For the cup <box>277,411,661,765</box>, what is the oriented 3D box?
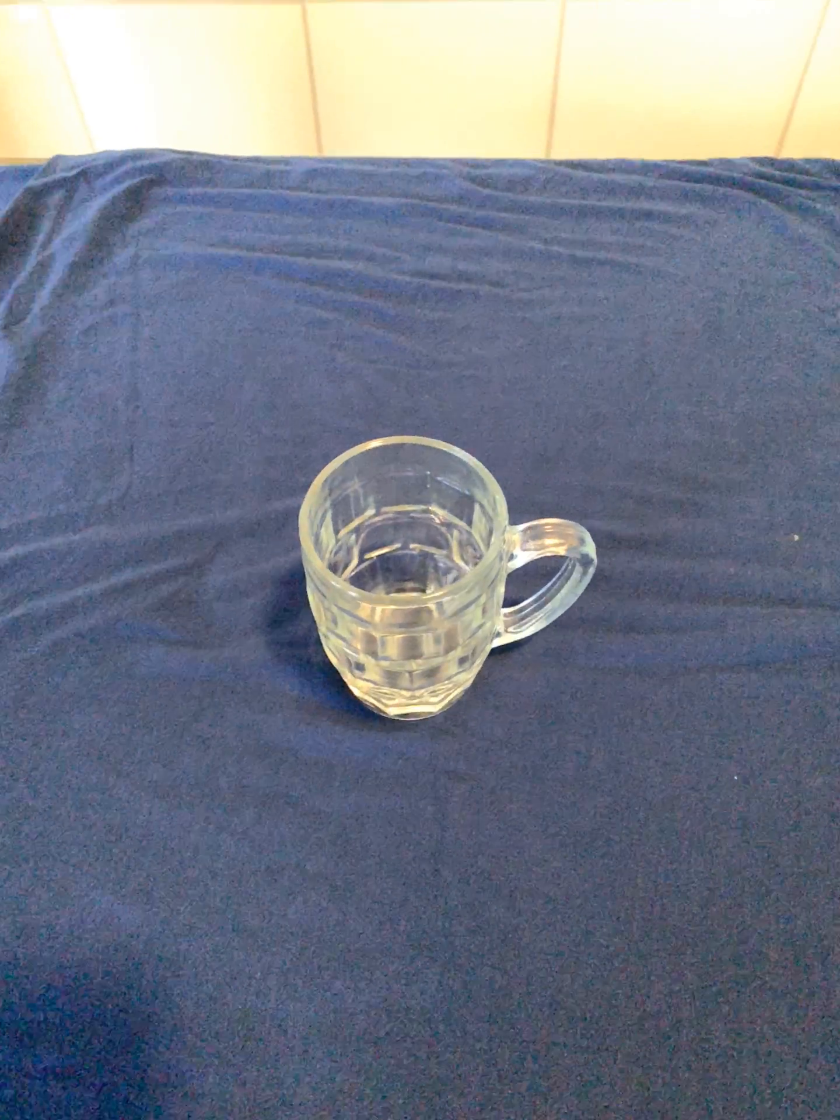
[{"bbox_3d":[0.013,0.015,0.339,0.120,0.110,0.080,-6,55,-3],"label":"cup"}]
